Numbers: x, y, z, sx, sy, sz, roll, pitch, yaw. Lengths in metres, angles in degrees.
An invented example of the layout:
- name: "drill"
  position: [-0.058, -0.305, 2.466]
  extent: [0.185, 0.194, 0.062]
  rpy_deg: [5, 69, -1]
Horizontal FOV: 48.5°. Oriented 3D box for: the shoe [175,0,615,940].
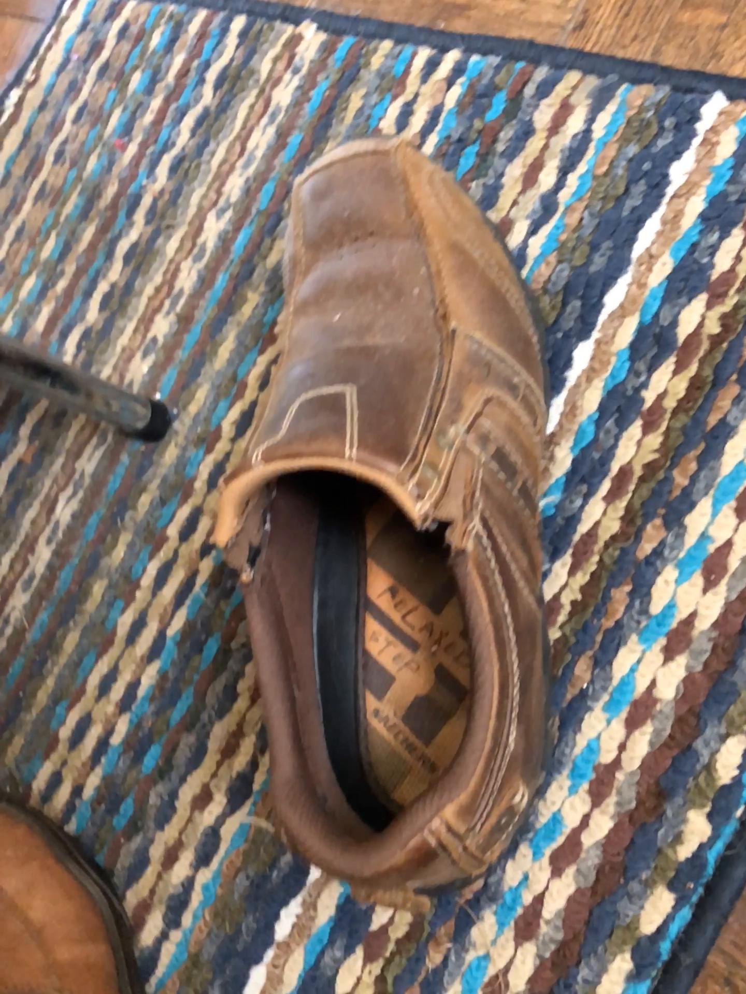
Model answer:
- name: "shoe"
  position: [0.007, -0.013, 0.290]
  extent: [0.100, 0.100, 0.280]
  rpy_deg: [-10, 71, 23]
